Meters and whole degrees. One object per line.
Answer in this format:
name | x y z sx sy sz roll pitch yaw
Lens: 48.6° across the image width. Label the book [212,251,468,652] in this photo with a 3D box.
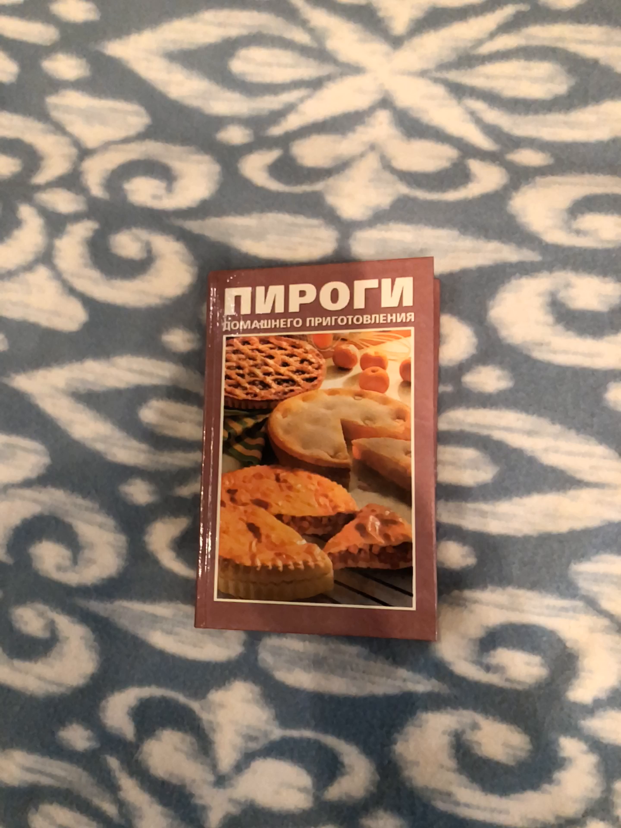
book | 0.019 0.018 0.378 0.131 0.040 0.201 0 83 13
